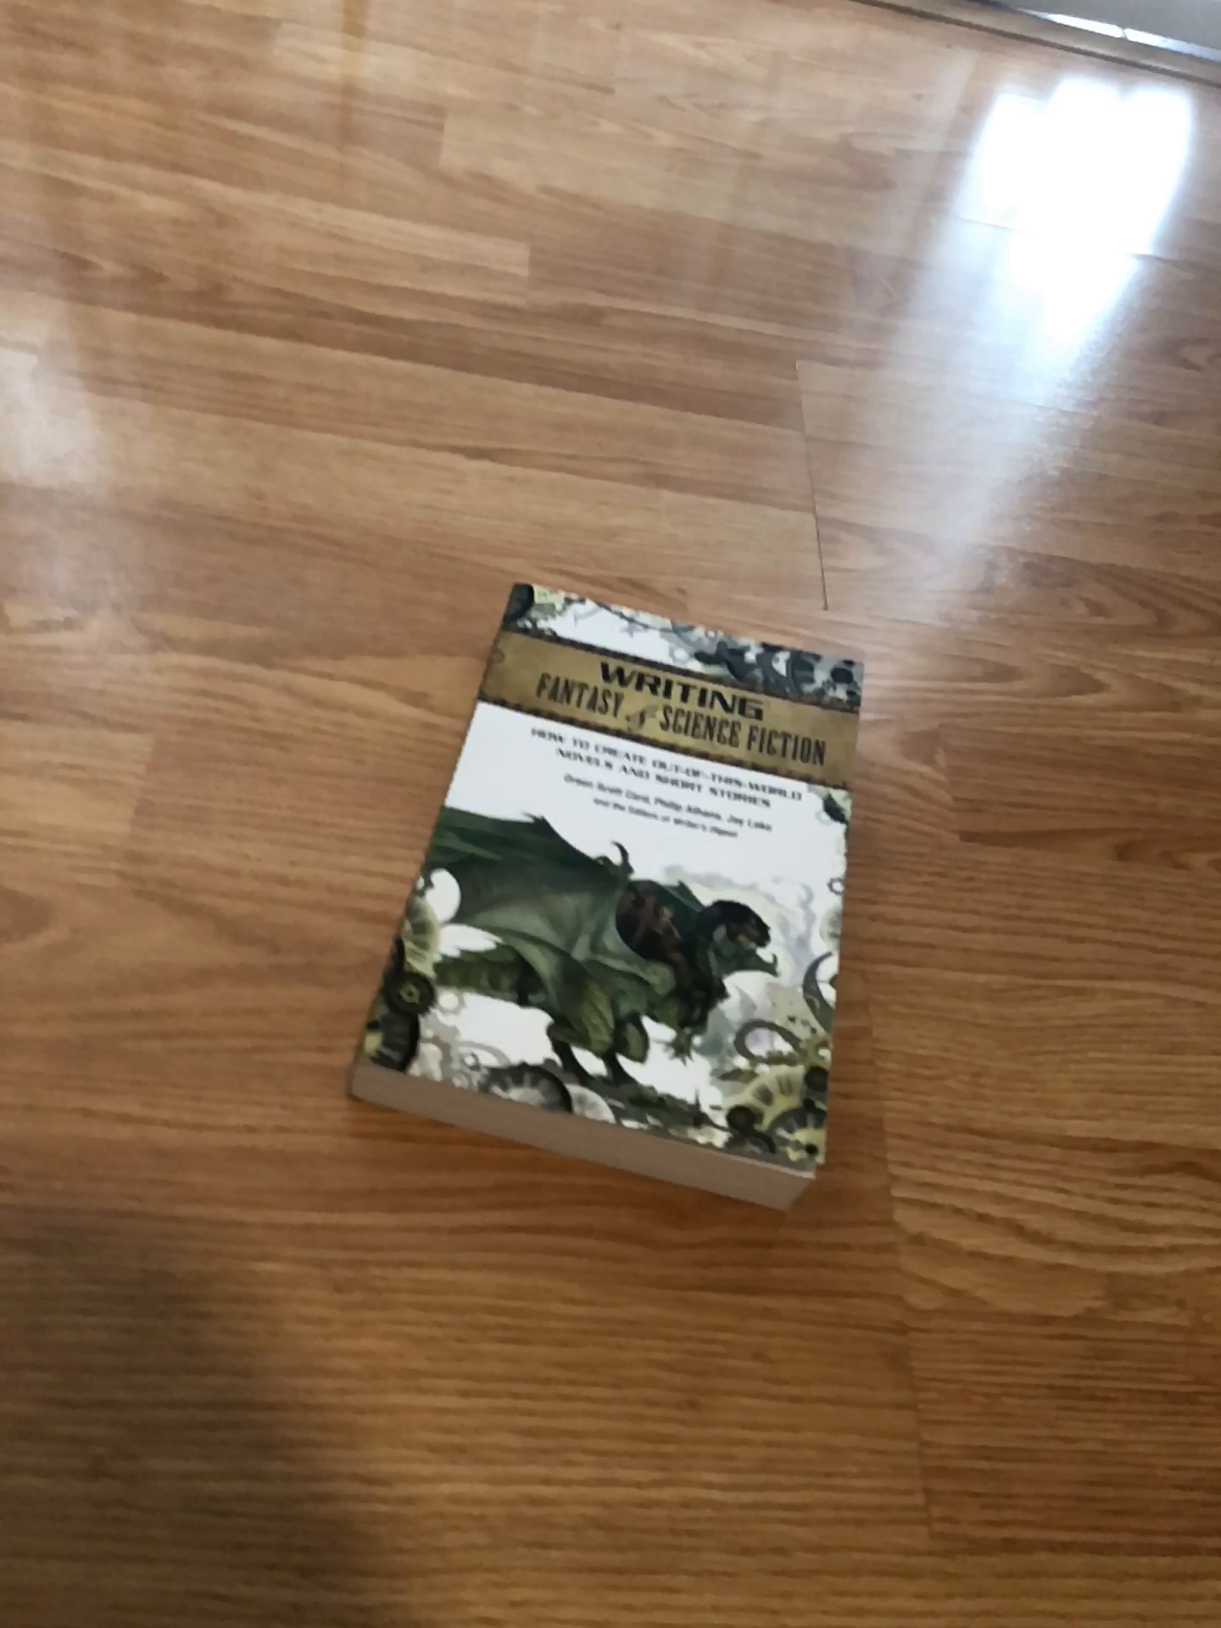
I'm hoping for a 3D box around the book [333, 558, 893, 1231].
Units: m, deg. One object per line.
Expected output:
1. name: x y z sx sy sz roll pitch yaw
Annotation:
1. book: 0.014 0.017 0.491 0.165 0.040 0.228 15 51 -3
